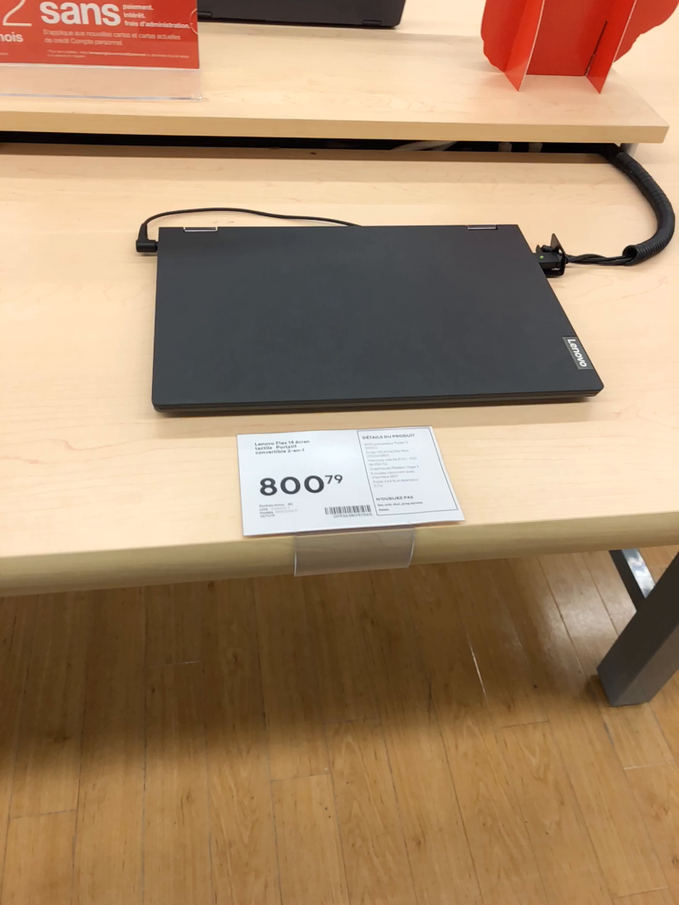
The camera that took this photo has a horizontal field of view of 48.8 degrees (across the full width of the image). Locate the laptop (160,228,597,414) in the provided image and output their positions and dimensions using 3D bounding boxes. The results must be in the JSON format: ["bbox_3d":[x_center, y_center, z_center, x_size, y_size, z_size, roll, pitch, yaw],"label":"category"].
[{"bbox_3d":[0.023,-0.119,0.613,0.326,0.009,0.212,-3,50,-10],"label":"laptop"}]
